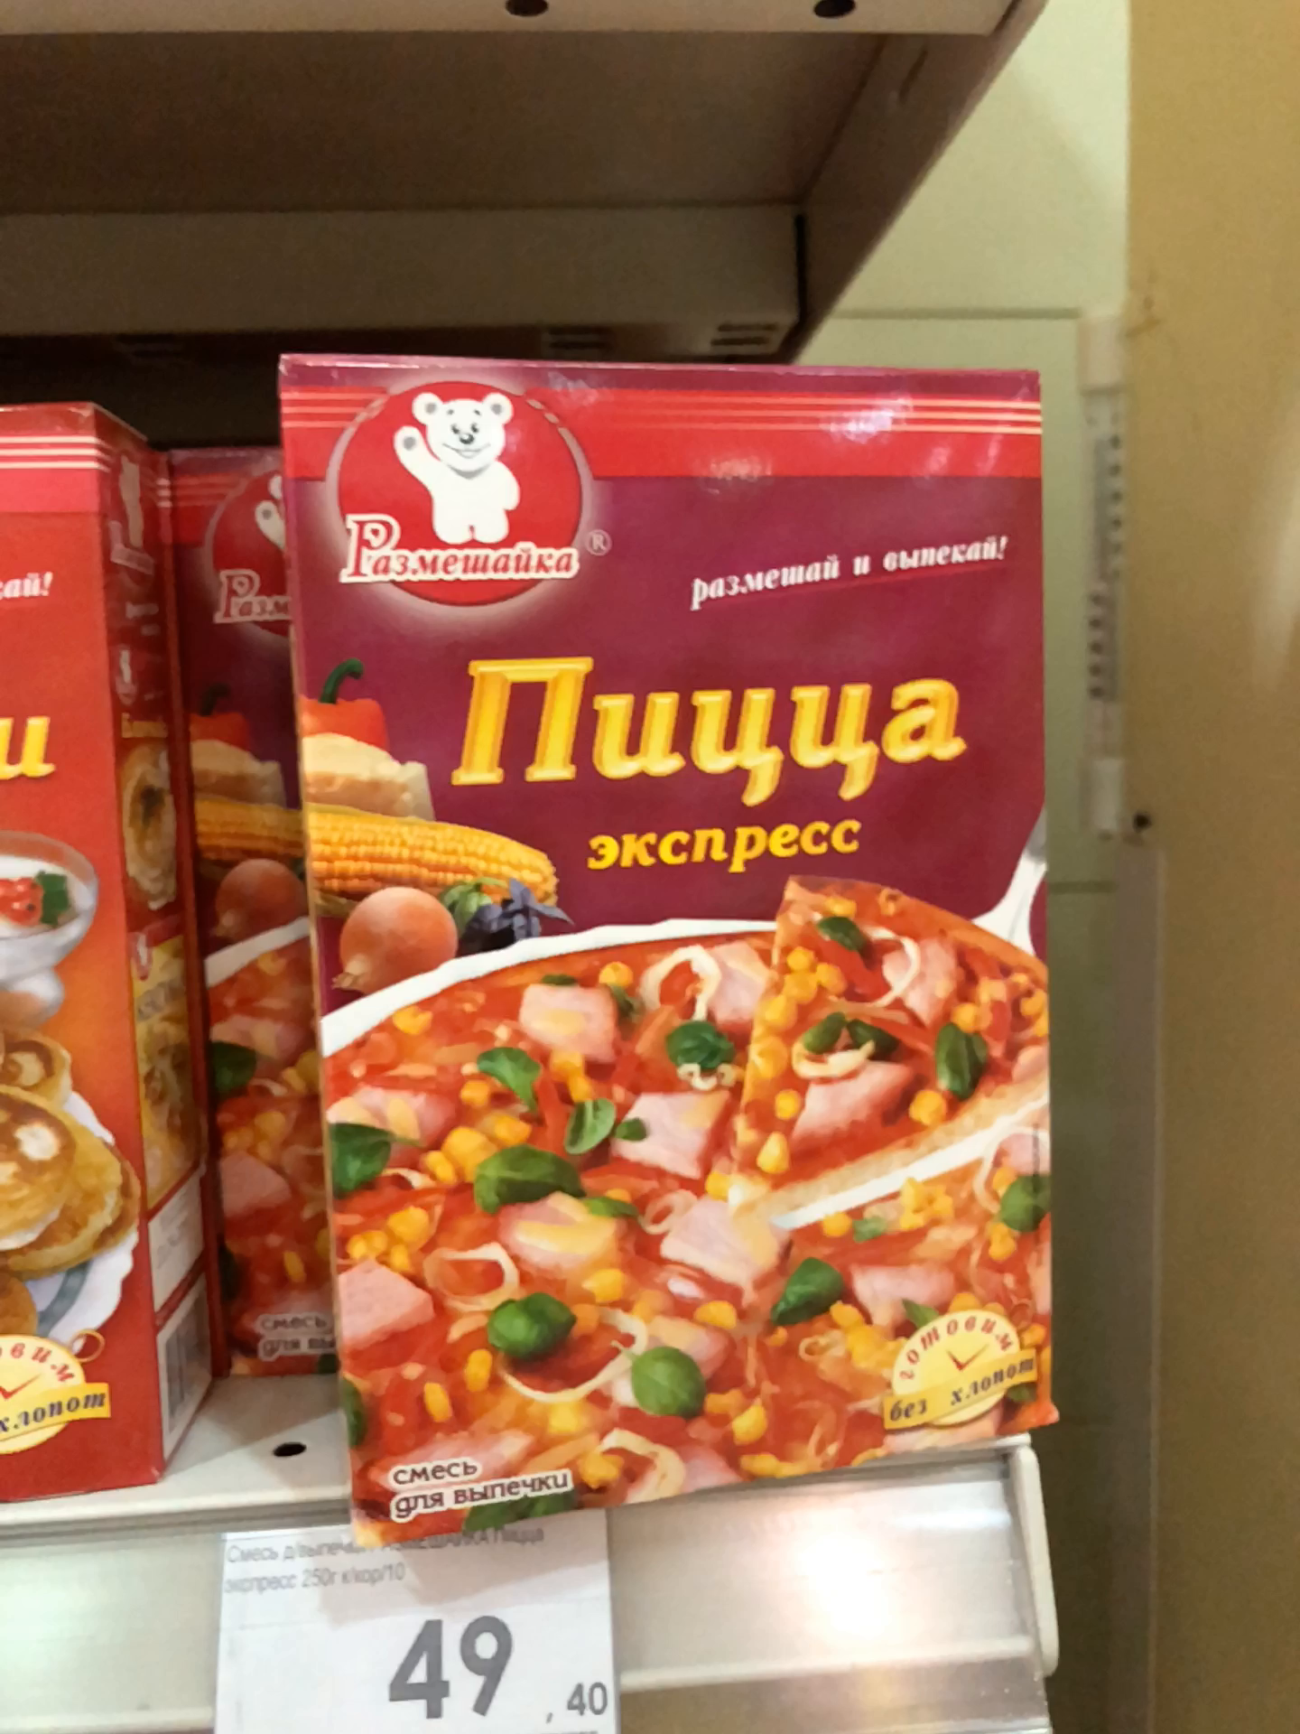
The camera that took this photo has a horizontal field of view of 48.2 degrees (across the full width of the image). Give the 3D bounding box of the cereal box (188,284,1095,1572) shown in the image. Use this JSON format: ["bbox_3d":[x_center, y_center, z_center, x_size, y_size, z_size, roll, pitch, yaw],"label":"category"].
[{"bbox_3d":[0.001,0.006,0.249,0.140,0.190,0.040,-3,4,-14],"label":"cereal box"}]
